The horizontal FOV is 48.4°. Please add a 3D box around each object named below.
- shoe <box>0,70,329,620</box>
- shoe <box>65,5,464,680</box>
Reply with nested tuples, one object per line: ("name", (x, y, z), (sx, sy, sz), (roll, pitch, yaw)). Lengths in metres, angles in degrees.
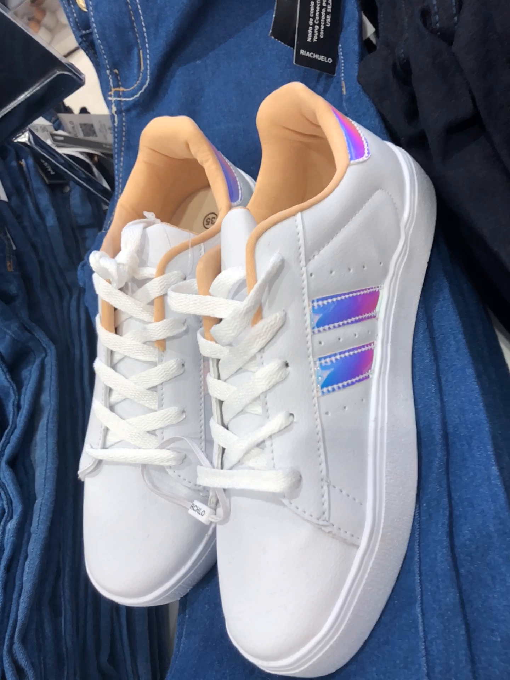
("shoe", (-0.034, 0.000, 0.318), (0.090, 0.110, 0.260), (2, 70, 25))
("shoe", (0.021, 0.008, 0.258), (0.090, 0.109, 0.260), (-7, 65, 42))
